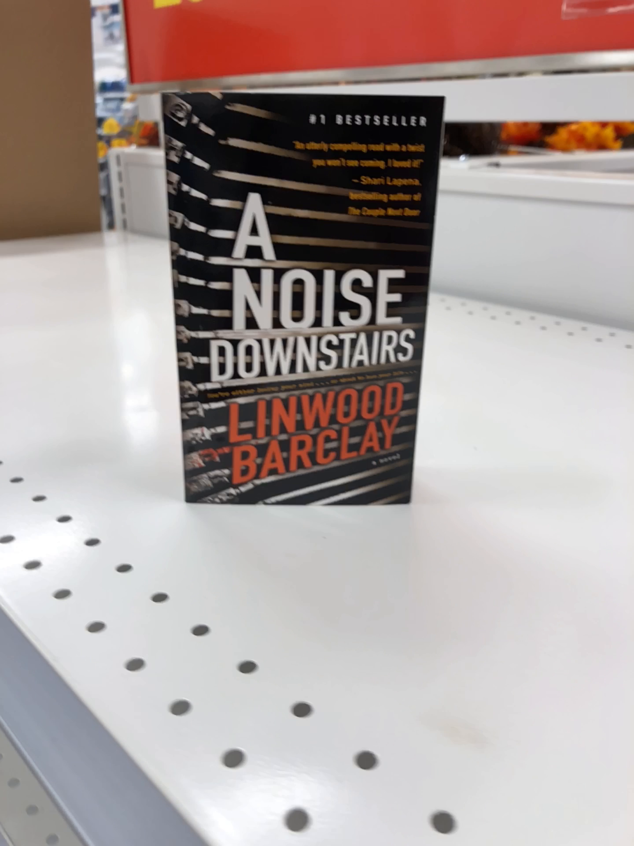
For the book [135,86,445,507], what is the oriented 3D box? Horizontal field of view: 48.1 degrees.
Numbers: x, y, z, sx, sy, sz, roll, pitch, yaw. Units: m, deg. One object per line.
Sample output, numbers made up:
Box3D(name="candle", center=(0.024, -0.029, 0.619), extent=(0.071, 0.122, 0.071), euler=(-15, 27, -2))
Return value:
Box3D(name="book", center=(-0.009, -0.049, 0.303), extent=(0.110, 0.170, 0.041), euler=(0, 23, 1))
